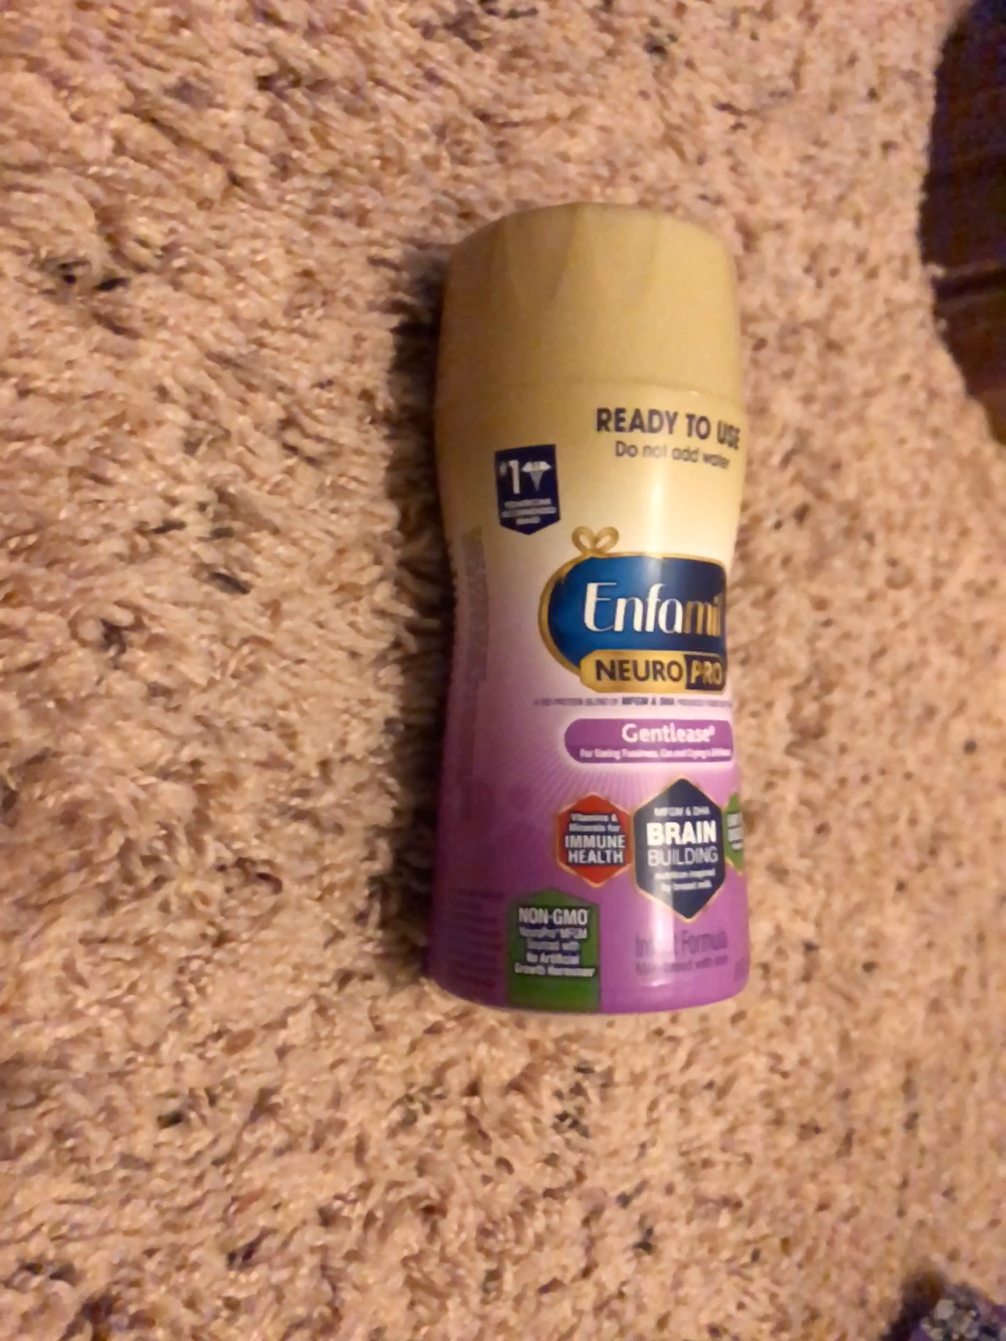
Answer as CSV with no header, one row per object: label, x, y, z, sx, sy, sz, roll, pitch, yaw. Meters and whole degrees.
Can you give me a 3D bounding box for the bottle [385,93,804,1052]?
bottle,0.014,-0.014,0.214,0.060,0.060,0.150,2,88,-14
